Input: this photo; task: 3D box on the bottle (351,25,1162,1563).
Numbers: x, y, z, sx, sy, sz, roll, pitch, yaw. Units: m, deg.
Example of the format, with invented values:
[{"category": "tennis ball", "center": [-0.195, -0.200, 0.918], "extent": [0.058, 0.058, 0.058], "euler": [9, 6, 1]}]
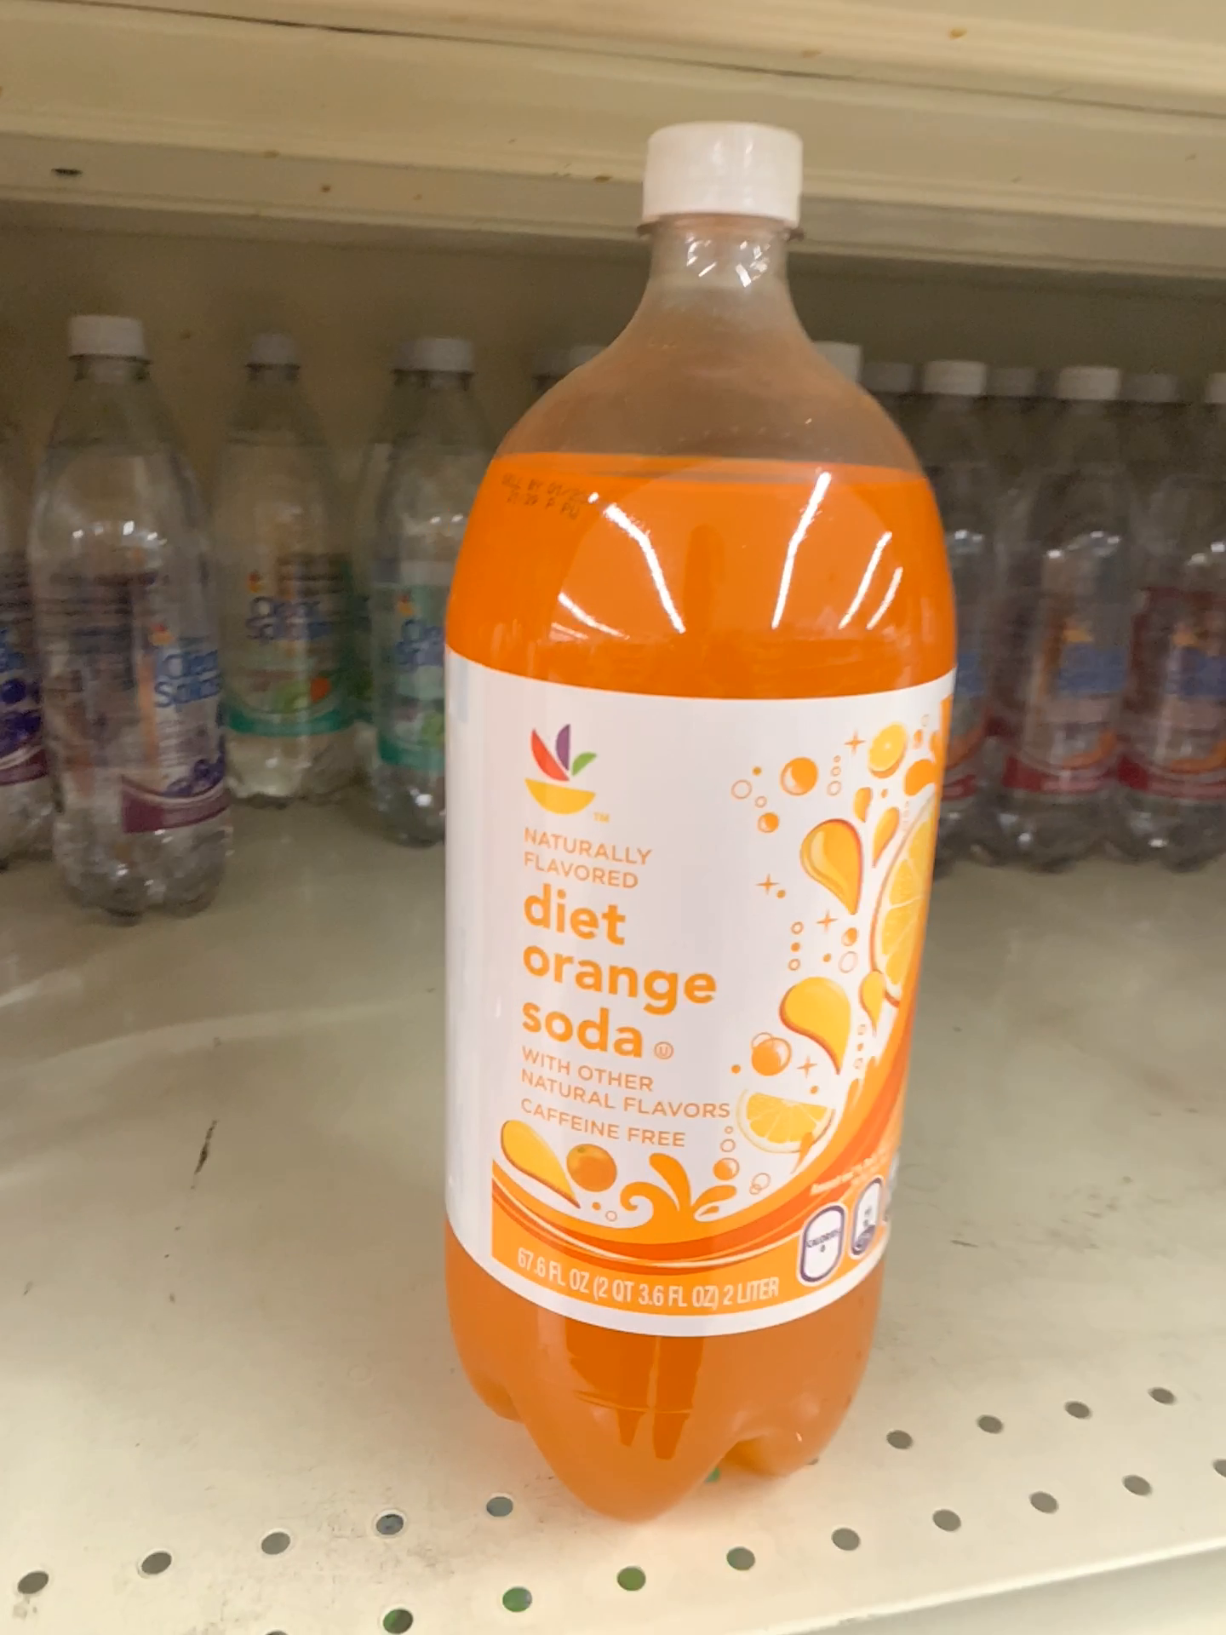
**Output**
[{"category": "bottle", "center": [0.013, 0.006, 0.283], "extent": [0.120, 0.289, 0.110], "euler": [2, 19, -1]}]
